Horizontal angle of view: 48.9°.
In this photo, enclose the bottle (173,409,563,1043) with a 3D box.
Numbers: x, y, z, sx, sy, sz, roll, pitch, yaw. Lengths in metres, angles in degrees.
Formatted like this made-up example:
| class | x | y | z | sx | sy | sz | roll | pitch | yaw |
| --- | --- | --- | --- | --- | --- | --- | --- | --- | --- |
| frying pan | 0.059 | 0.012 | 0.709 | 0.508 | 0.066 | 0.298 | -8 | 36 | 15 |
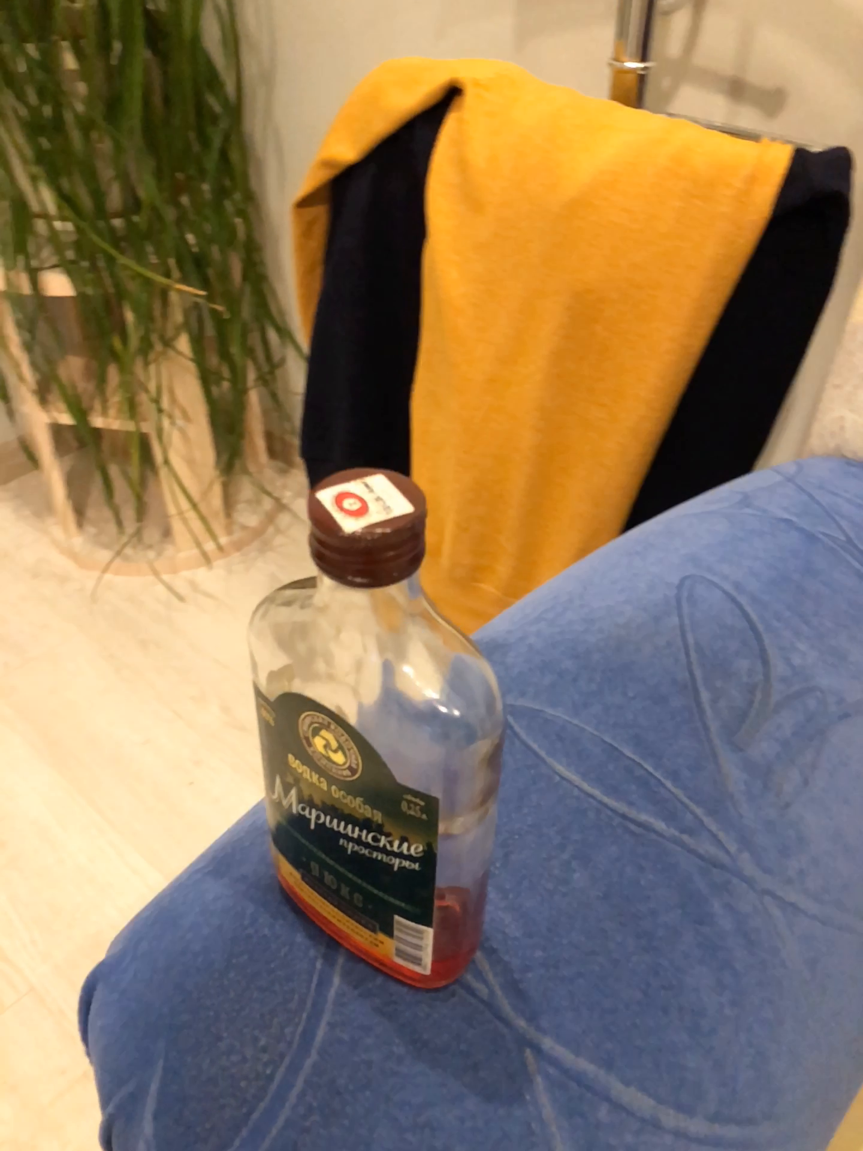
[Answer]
| class | x | y | z | sx | sy | sz | roll | pitch | yaw |
| --- | --- | --- | --- | --- | --- | --- | --- | --- | --- |
| bottle | -0.016 | 0.051 | 0.283 | 0.090 | 0.179 | 0.040 | 26 | 45 | 30 |
